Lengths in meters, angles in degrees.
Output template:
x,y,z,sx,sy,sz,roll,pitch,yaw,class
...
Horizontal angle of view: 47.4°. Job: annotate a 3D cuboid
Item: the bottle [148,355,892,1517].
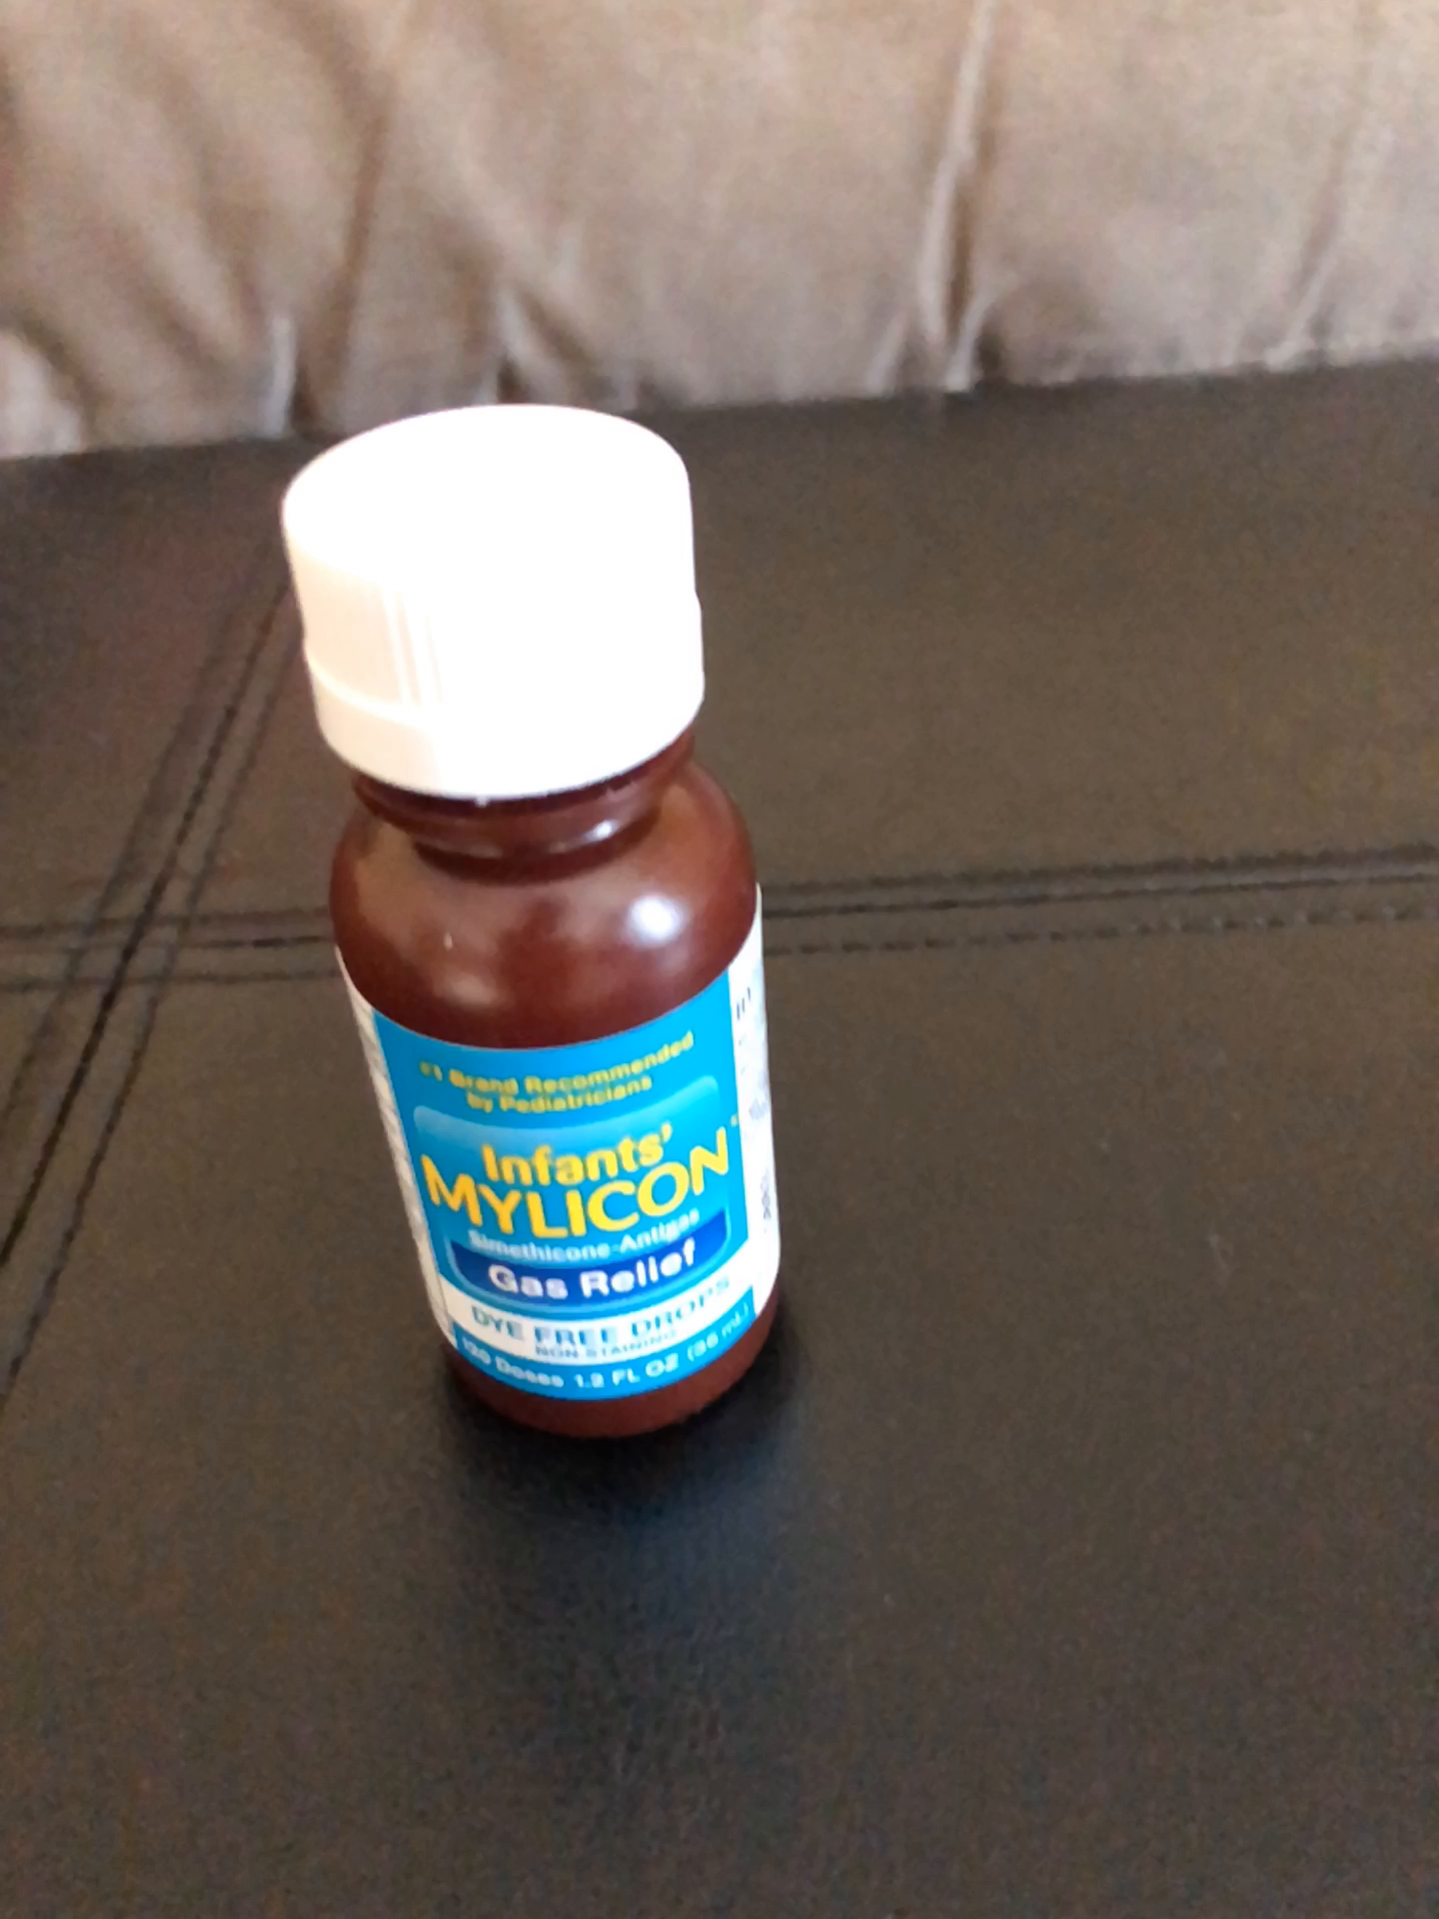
x,y,z,sx,sy,sz,roll,pitch,yaw,class
-0.011,0.001,0.131,0.040,0.080,0.040,-4,39,3,bottle
